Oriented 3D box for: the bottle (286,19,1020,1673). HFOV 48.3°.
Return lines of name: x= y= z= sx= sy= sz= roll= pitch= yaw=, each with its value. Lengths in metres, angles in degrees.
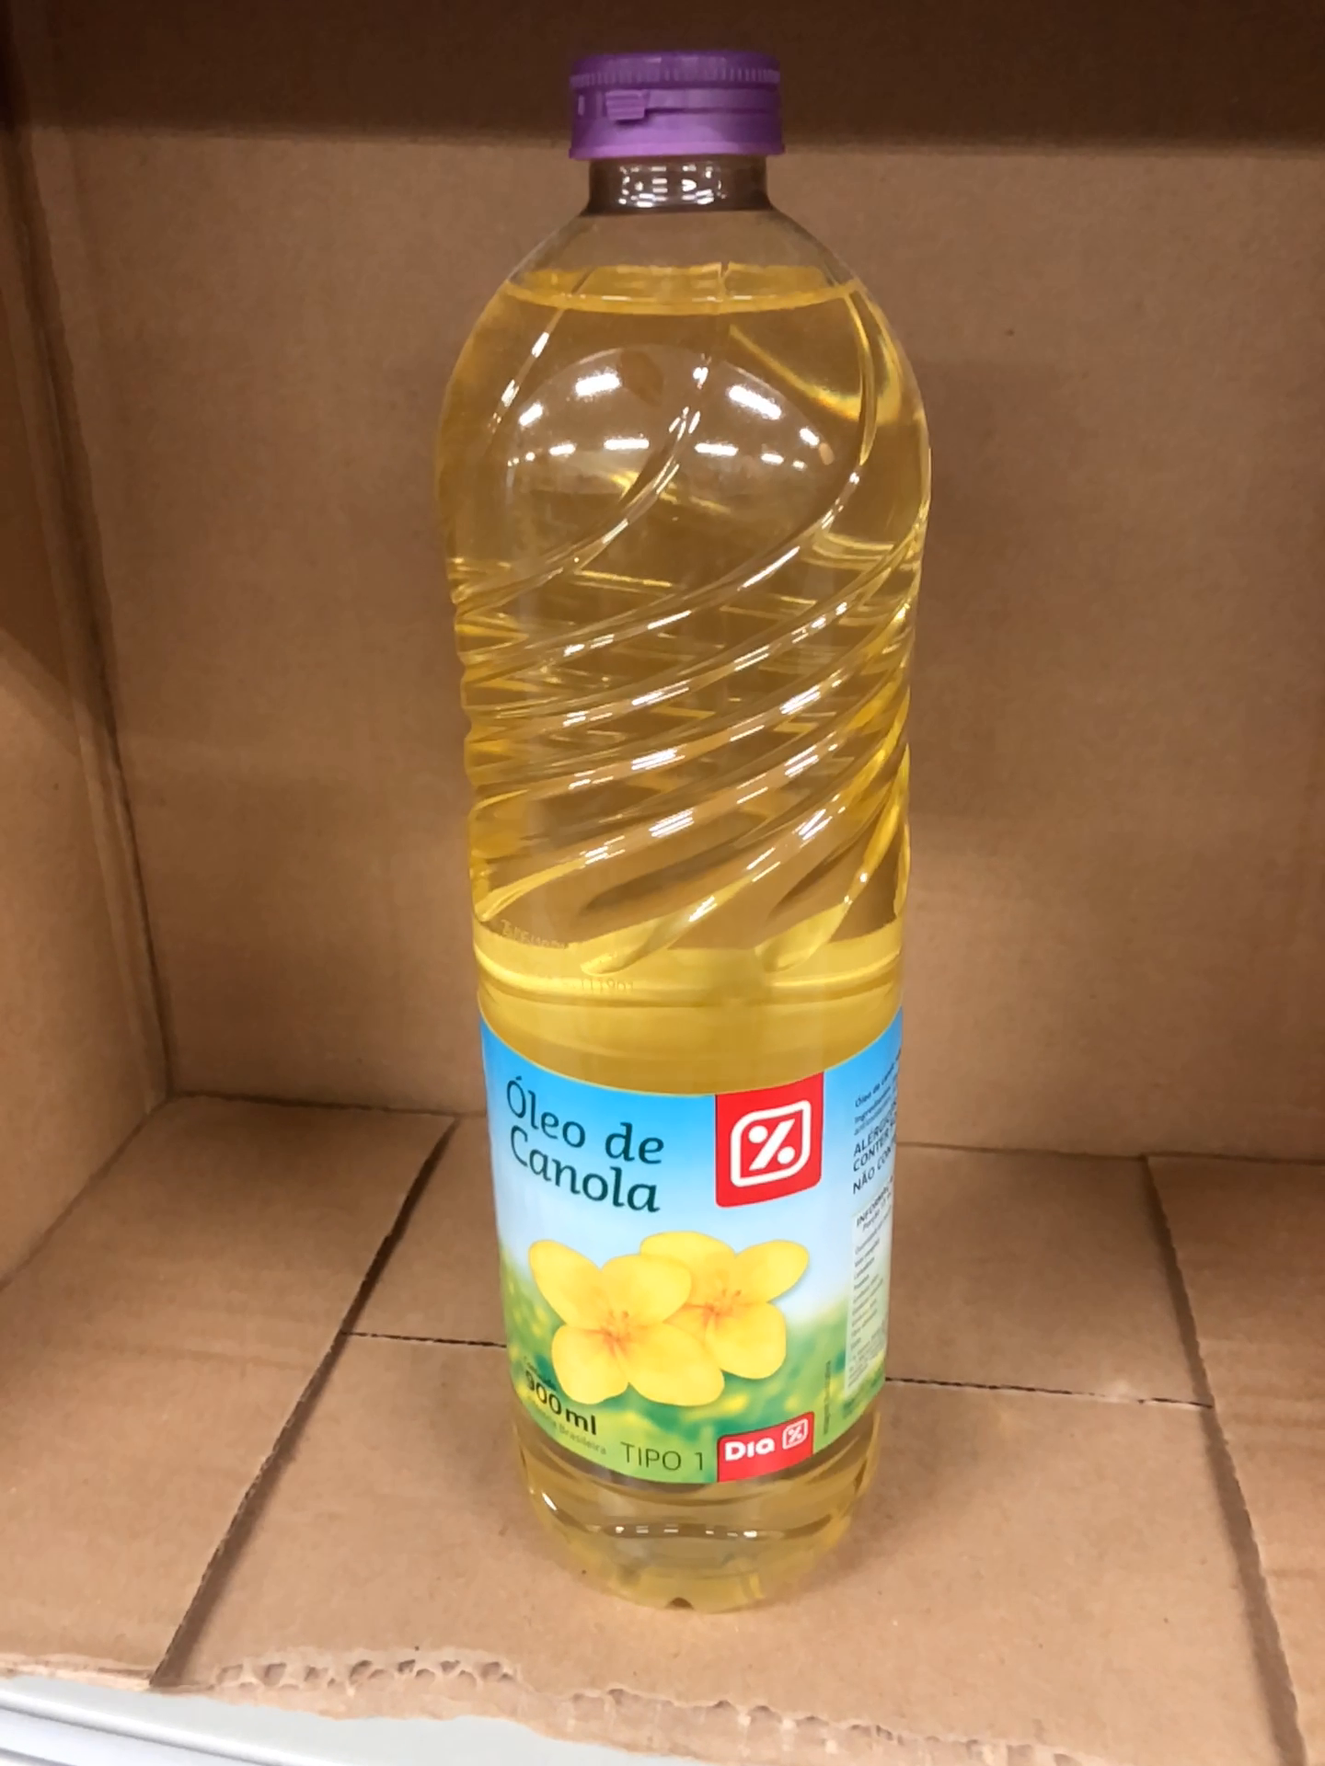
bottle: x=0.003 y=0.015 z=0.243 sx=0.080 sy=0.268 sz=0.050 roll=4 pitch=28 yaw=8
